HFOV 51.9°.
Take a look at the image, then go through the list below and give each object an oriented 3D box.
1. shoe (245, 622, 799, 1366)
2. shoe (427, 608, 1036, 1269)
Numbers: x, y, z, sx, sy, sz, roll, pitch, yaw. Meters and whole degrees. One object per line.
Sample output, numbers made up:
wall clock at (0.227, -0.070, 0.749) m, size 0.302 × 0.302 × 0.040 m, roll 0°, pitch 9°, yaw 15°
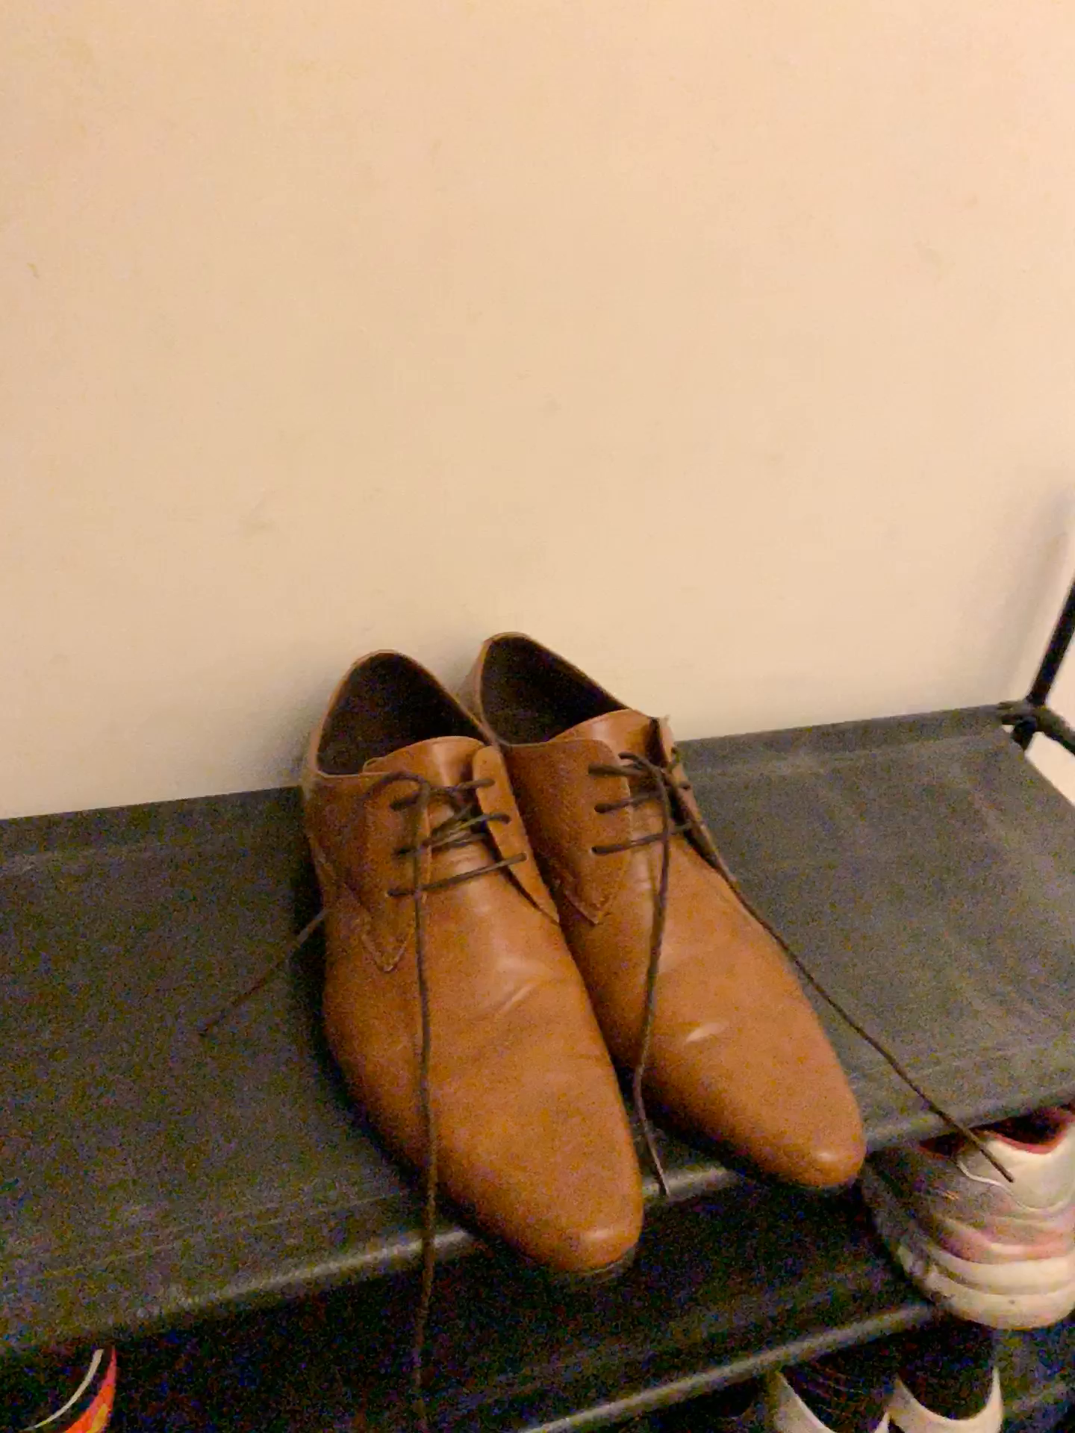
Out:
shoe at (-0.031, 0.074, 0.429) m, size 0.110 × 0.099 × 0.272 m, roll -8°, pitch 34°, yaw -22°
shoe at (0.054, 0.066, 0.485) m, size 0.100 × 0.099 × 0.292 m, roll -10°, pitch 35°, yaw -25°
